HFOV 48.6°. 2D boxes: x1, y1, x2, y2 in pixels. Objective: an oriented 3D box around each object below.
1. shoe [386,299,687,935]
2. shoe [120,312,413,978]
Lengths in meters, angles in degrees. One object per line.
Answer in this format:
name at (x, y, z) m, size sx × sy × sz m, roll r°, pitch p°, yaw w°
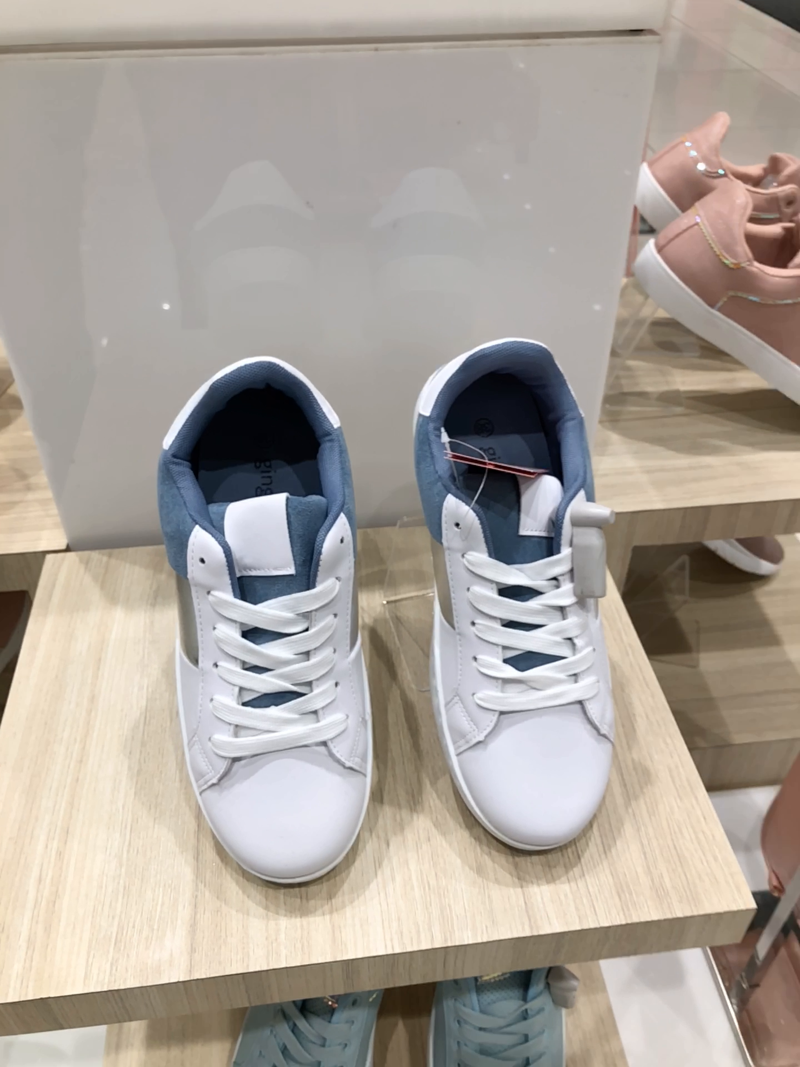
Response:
shoe at (0.058, 0.034, 0.430) m, size 0.102 × 0.263 × 0.104 m, roll -4°, pitch -2°, yaw -6°
shoe at (-0.061, 0.043, 0.414) m, size 0.092 × 0.261 × 0.104 m, roll -6°, pitch -3°, yaw -8°
